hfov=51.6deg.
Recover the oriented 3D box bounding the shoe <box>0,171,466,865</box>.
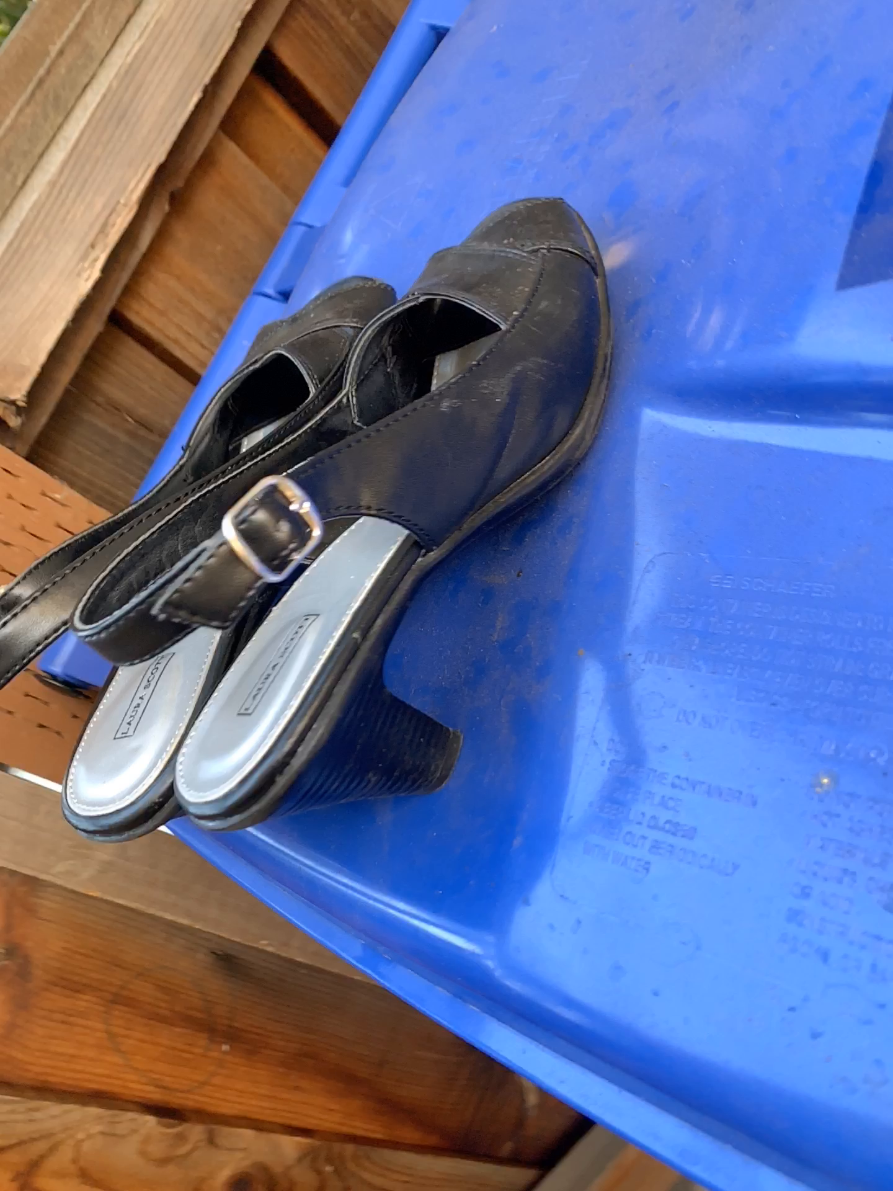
[{"bbox_3d":[-0.072,-0.039,0.343,0.090,0.089,0.252,-10,47,27],"label":"shoe"}]

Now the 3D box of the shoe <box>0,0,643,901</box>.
[{"bbox_3d":[-0.025,-0.055,0.272,0.090,0.099,0.251,-10,55,42],"label":"shoe"}]
